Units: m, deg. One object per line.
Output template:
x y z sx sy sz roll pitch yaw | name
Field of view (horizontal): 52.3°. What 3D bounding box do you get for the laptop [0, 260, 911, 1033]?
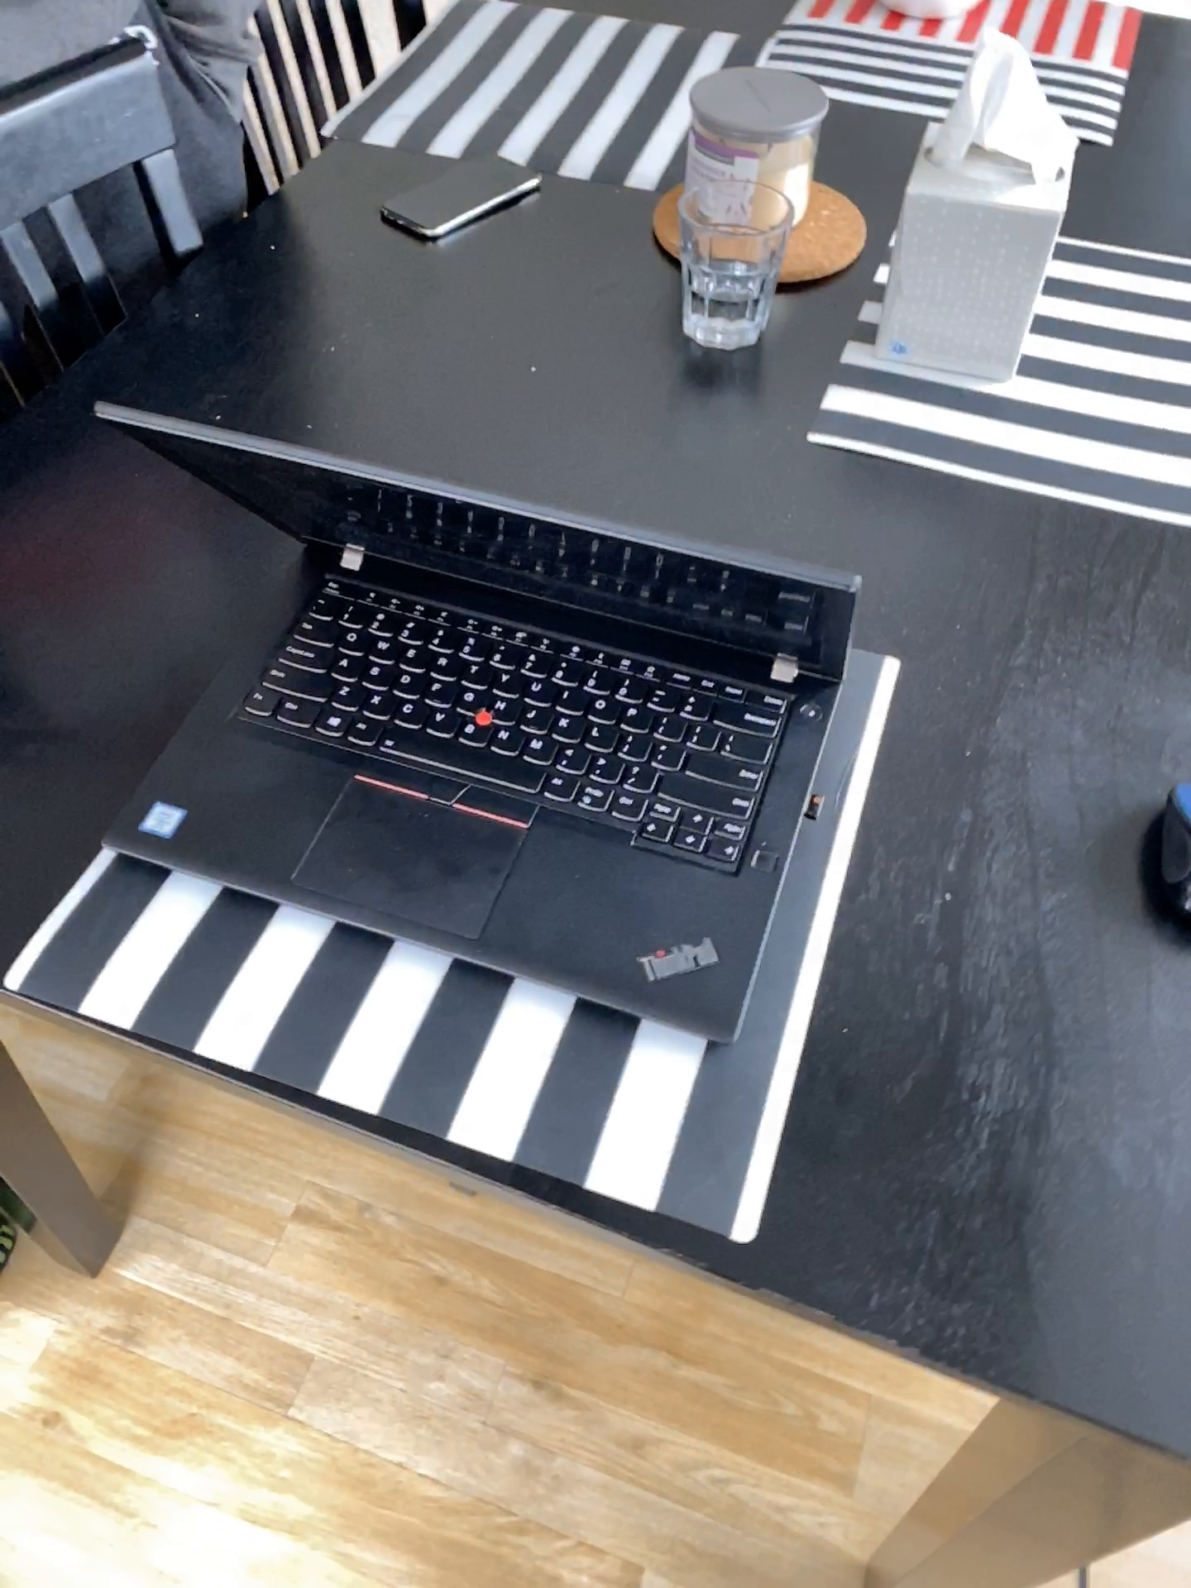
-0.052 -0.077 0.556 0.321 0.175 0.221 16 53 11 | laptop
